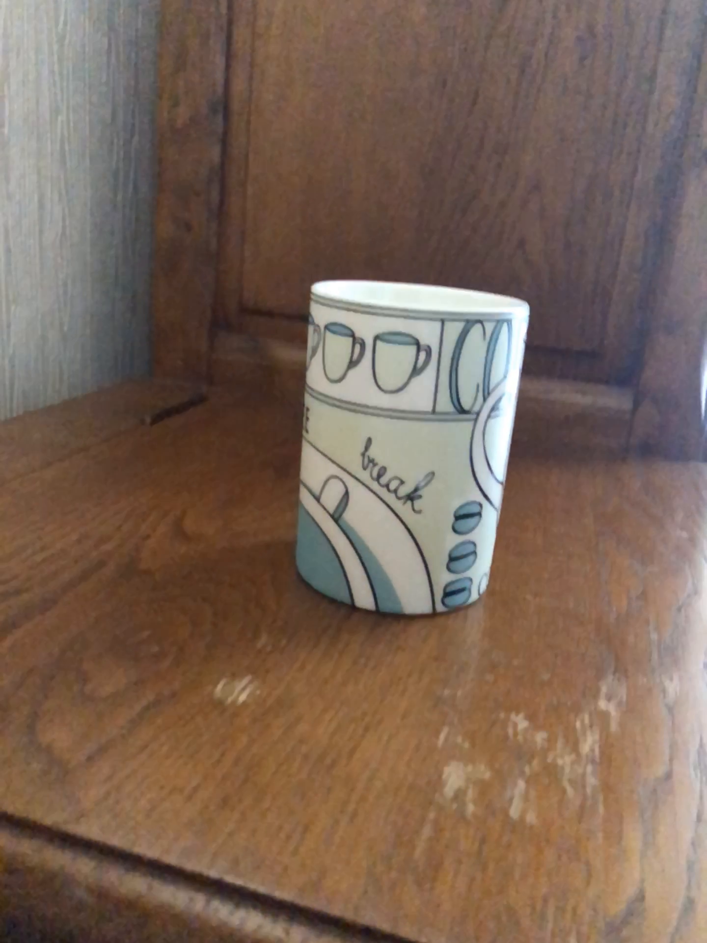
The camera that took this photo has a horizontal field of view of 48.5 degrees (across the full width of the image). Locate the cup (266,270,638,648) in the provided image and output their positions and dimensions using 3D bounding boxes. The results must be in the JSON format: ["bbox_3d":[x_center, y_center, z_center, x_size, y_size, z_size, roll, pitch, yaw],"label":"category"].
[{"bbox_3d":[0.040,-0.018,0.285,0.080,0.100,0.121,15,20,28],"label":"cup"}]
